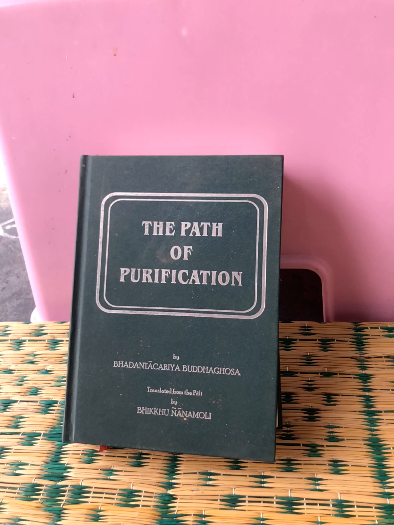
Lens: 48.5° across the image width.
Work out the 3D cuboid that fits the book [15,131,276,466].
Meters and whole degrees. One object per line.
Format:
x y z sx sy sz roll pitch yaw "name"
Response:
-0.026 0.020 0.328 0.160 0.080 0.210 2 80 11 "book"
